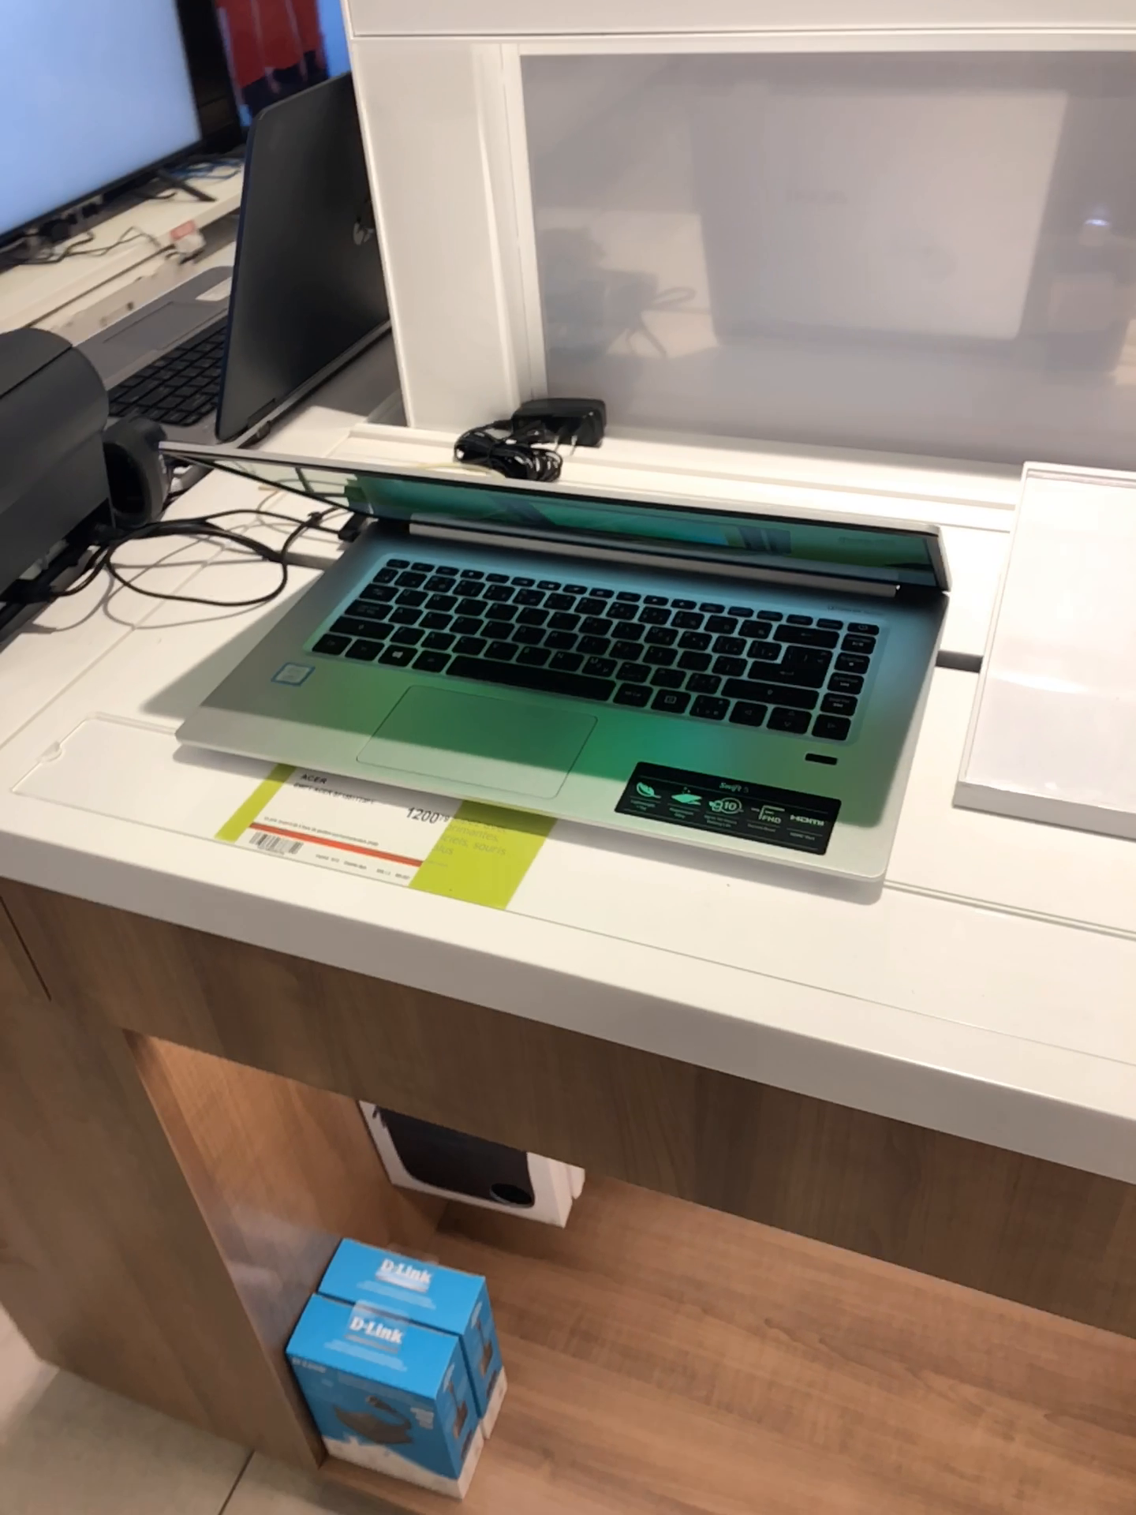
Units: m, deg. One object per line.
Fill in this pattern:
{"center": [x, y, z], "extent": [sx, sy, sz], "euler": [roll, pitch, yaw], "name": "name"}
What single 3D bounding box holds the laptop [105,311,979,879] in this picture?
{"center": [0.000, -0.100, 0.615], "extent": [0.347, 0.132, 0.218], "euler": [11, 42, 18], "name": "laptop"}
